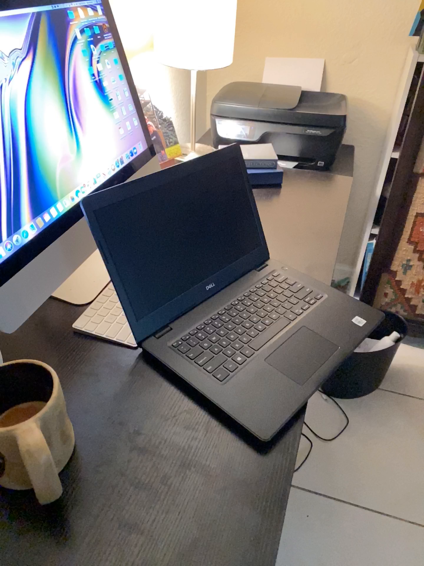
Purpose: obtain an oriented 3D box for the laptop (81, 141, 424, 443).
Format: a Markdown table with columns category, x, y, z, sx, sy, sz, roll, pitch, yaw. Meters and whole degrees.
| category | x | y | z | sx | sy | sz | roll | pitch | yaw |
| --- | --- | --- | --- | --- | --- | --- | --- | --- | --- |
| laptop | 0.058 | -0.032 | 0.667 | 0.343 | 0.206 | 0.337 | 30 | 45 | 32 |
